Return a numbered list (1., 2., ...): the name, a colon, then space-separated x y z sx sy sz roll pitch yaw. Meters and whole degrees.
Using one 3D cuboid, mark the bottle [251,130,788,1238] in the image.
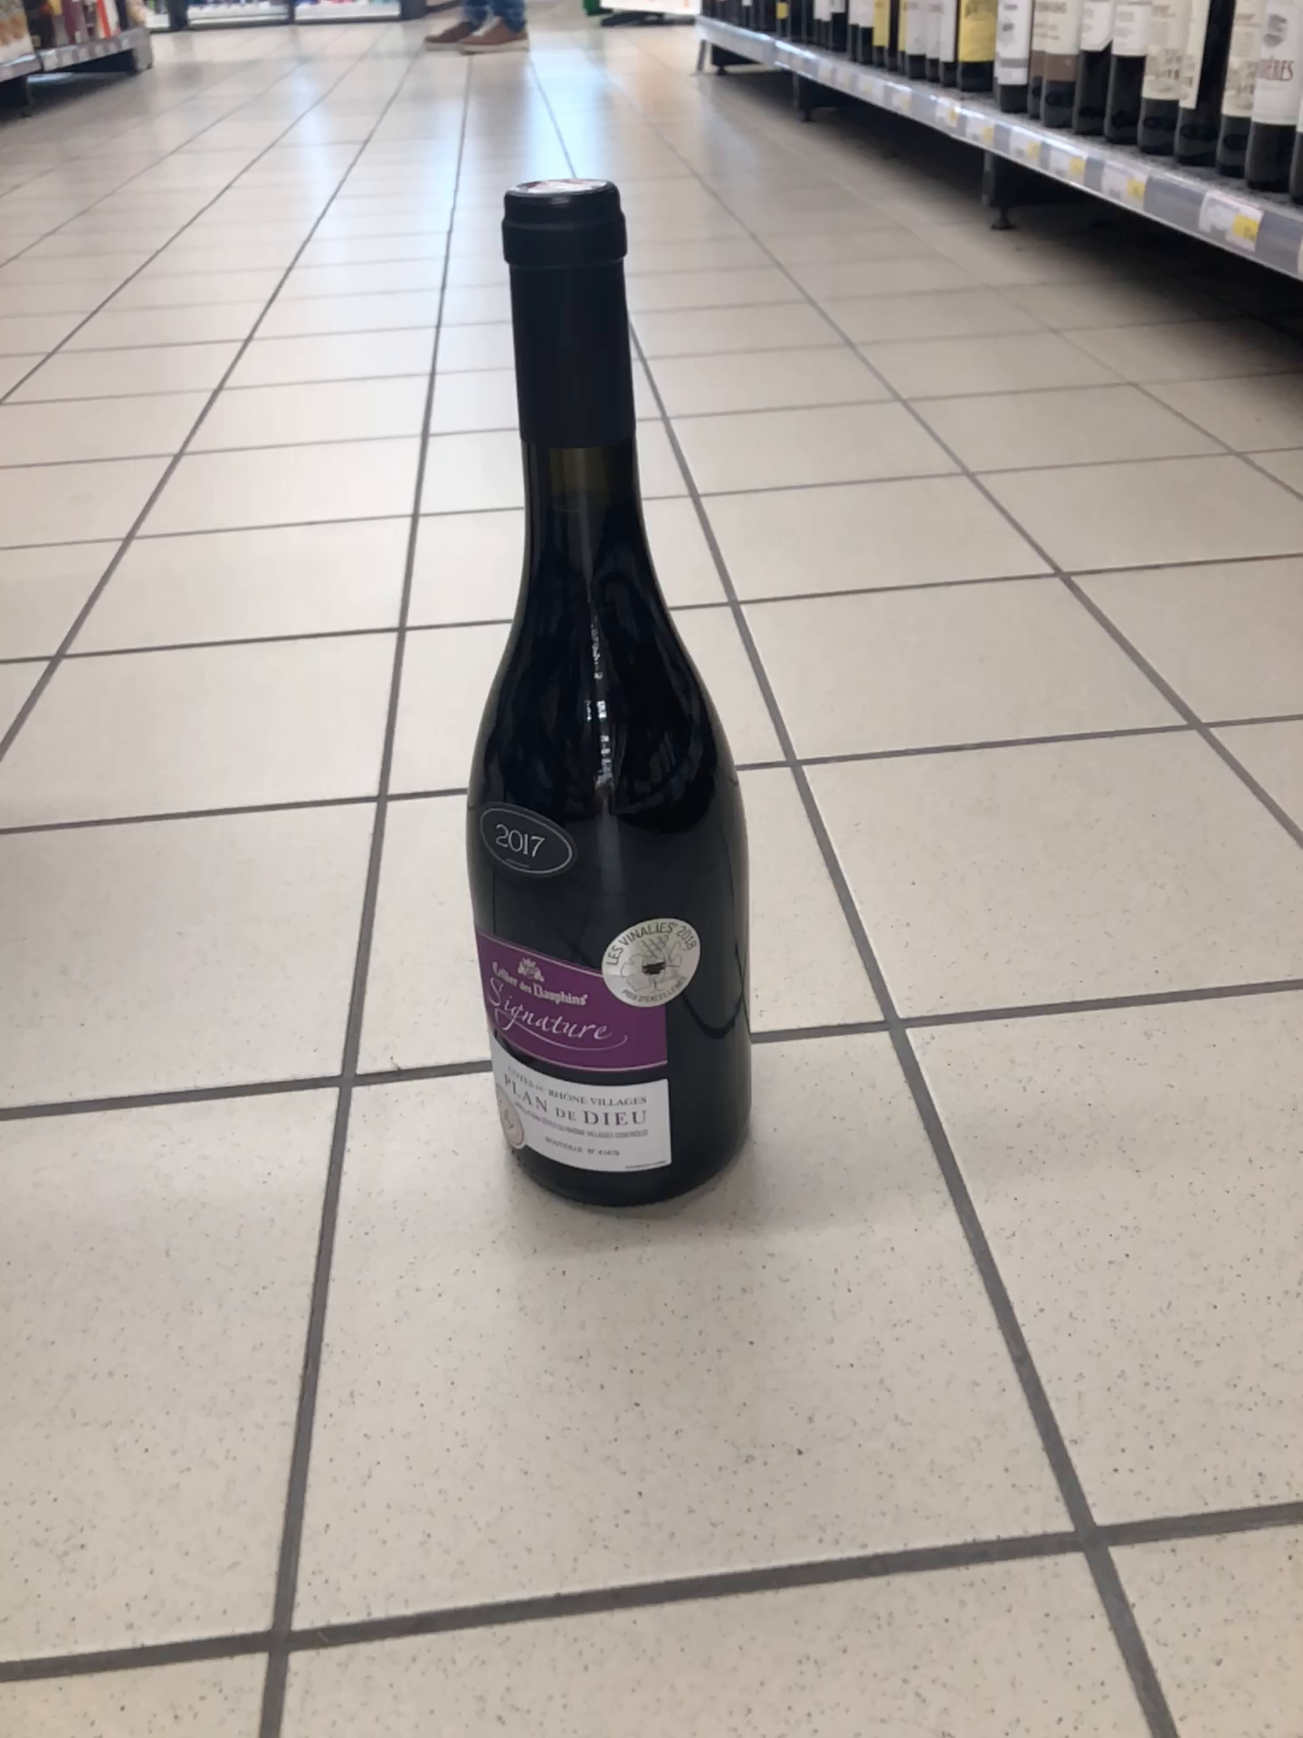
1. bottle: -0.021 -0.044 0.407 0.090 0.288 0.091 -2 32 1
